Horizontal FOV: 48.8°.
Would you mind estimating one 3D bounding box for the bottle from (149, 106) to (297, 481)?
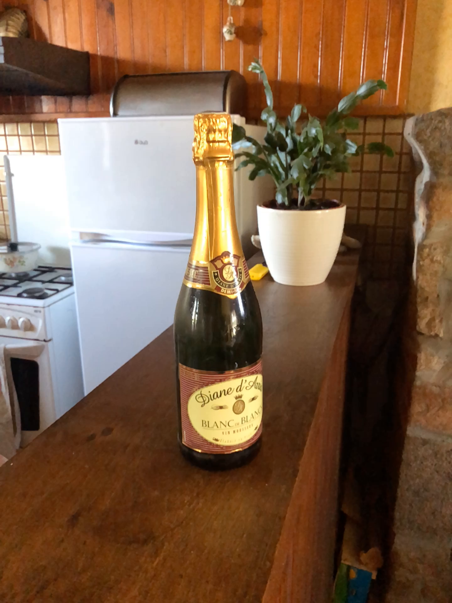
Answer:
[{"bbox_3d":[-0.006,-0.009,0.442,0.090,0.299,0.100,-6,18,-20],"label":"bottle"}]
